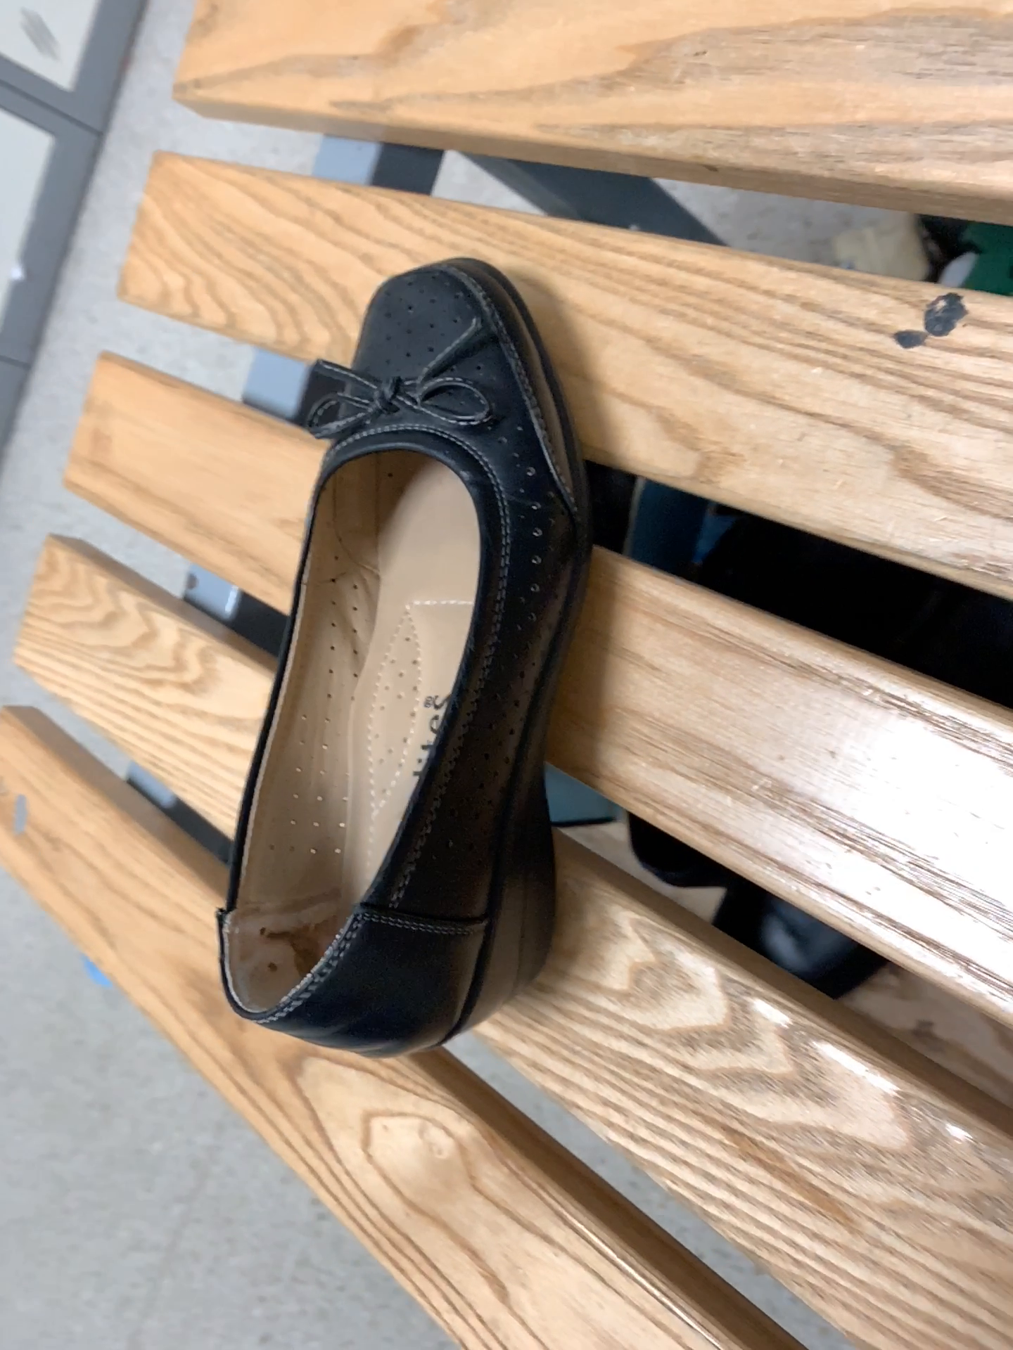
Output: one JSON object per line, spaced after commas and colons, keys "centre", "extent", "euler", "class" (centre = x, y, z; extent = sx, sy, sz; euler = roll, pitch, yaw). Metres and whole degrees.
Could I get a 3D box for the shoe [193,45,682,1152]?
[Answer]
{"centre": [-0.012, -0.019, 0.321], "extent": [0.087, 0.109, 0.272], "euler": [-4, 79, 36], "class": "shoe"}
